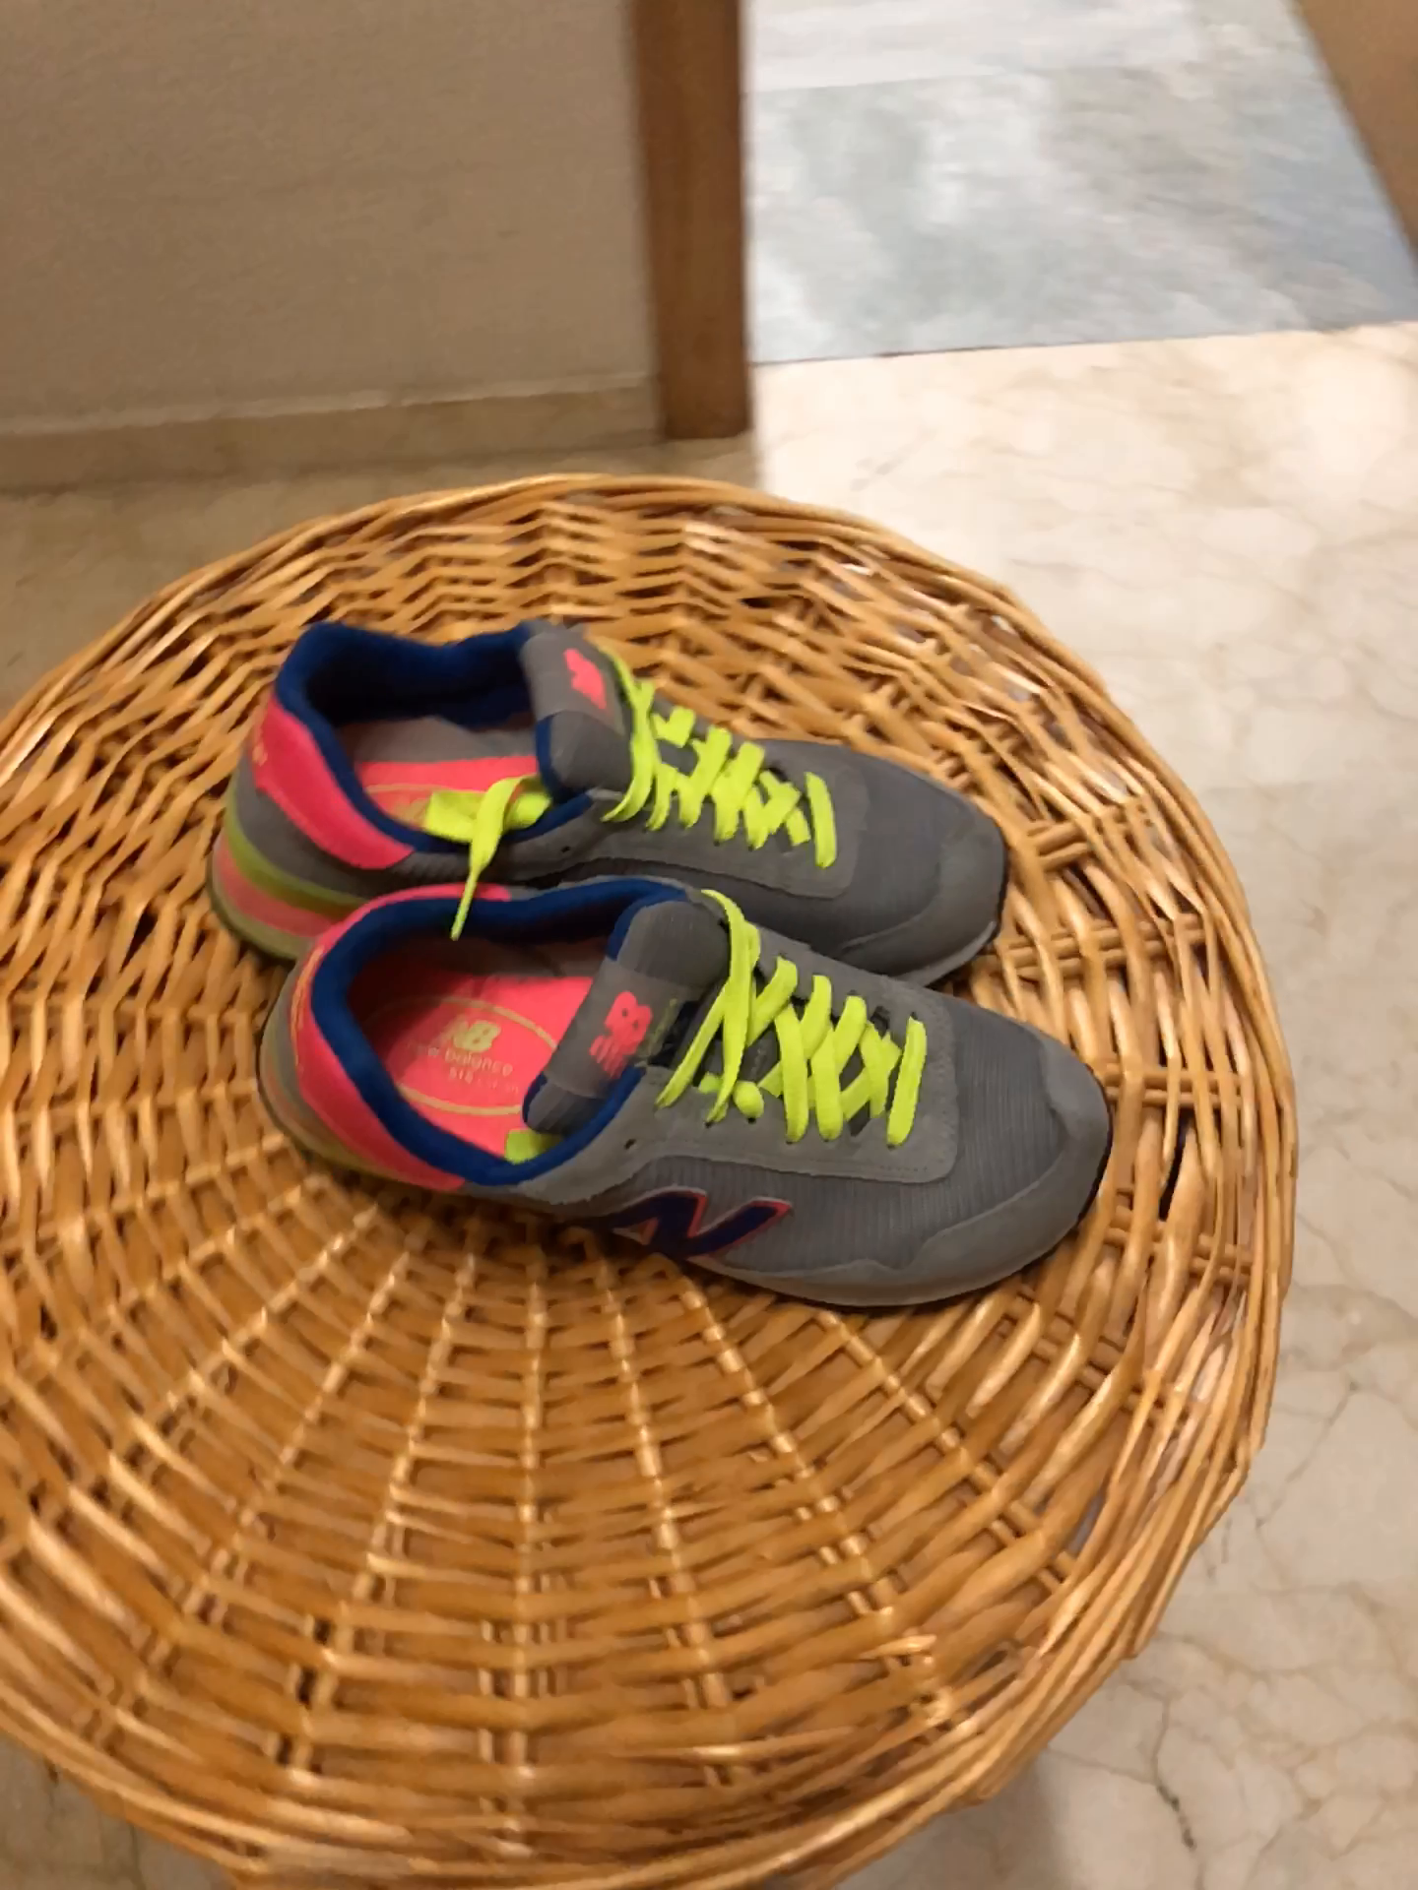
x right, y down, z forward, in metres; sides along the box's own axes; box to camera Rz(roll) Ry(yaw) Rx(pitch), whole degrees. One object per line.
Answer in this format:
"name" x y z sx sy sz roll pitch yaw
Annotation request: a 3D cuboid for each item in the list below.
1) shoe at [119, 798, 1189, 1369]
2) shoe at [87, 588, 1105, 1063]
"shoe" -0.009 0.042 0.448 0.260 0.110 0.100 6 65 6
"shoe" -0.031 -0.035 0.504 0.280 0.110 0.100 -1 59 2
